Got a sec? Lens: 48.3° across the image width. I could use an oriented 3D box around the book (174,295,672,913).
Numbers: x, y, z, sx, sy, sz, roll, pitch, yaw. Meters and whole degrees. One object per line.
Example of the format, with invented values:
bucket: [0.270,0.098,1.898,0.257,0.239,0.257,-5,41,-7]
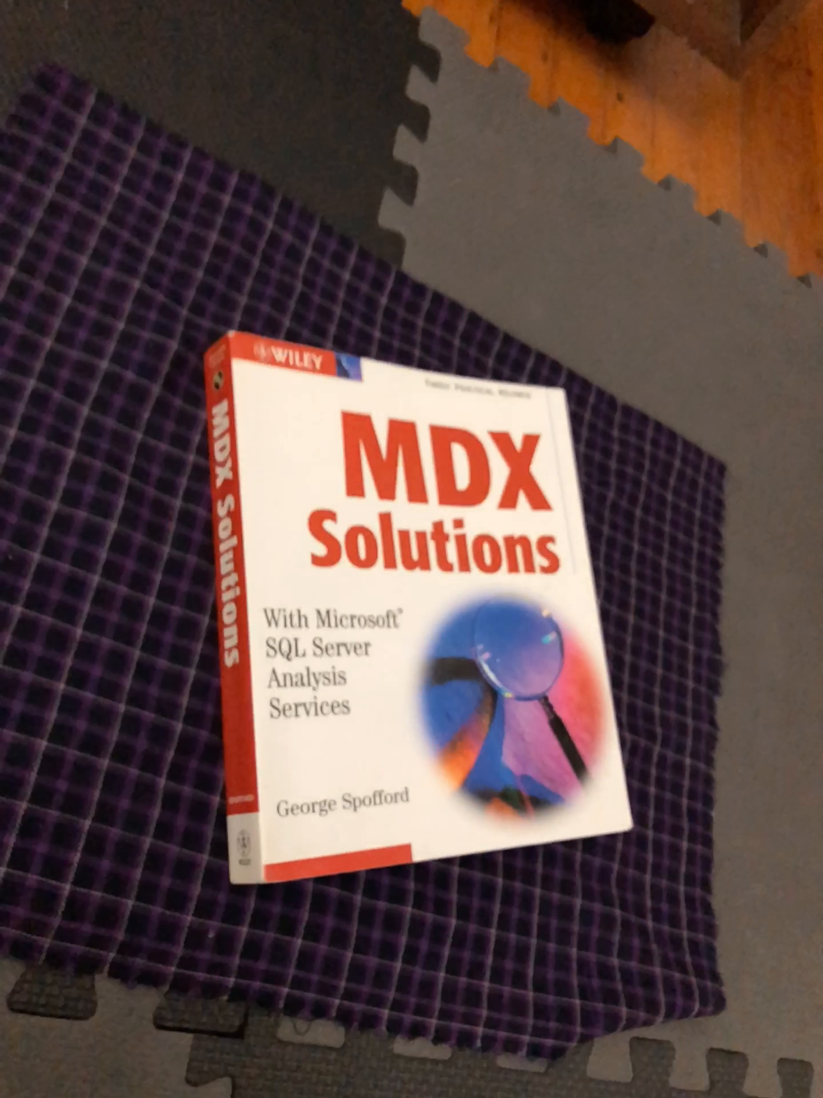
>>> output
book: [0.007,0.021,0.453,0.221,0.050,0.260,2,71,-32]
